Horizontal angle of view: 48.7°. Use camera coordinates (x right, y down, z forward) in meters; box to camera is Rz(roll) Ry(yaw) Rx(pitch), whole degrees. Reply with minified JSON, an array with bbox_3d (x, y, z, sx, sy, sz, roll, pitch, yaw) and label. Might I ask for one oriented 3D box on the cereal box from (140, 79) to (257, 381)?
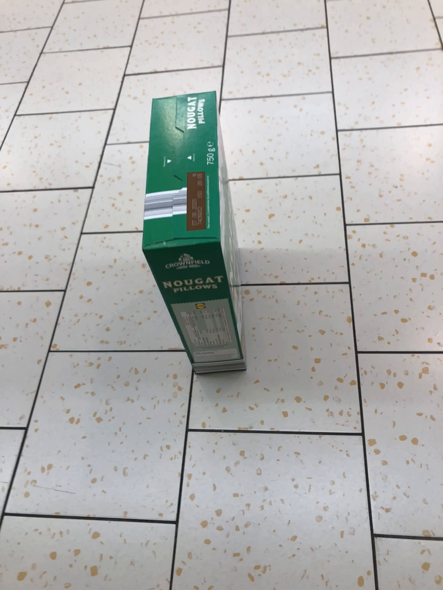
[{"bbox_3d":[-0.015,-0.054,0.542,0.070,0.269,0.201,-7,57,5],"label":"cereal box"}]
